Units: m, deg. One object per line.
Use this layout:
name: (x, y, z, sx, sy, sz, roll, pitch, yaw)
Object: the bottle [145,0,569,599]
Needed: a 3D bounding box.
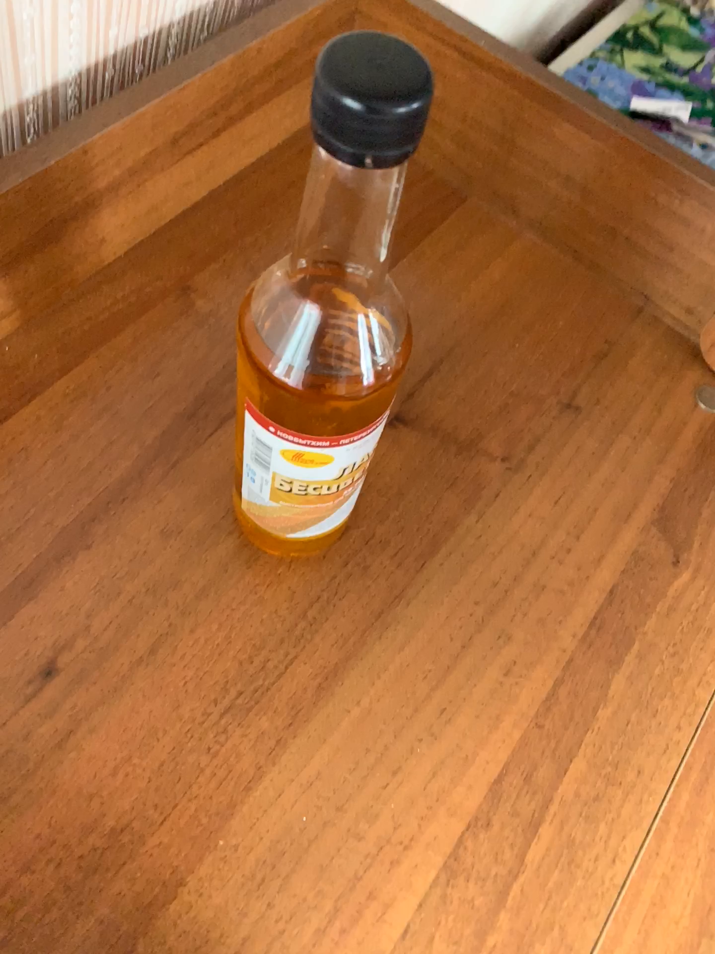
bottle: (-0.020, -0.045, 0.292, 0.070, 0.258, 0.080, 41, 62, 12)
